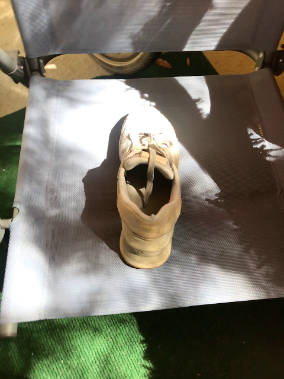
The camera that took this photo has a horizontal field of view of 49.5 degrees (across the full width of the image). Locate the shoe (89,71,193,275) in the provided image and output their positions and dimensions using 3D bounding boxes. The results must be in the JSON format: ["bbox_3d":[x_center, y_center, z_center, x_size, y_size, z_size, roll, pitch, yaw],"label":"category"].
[{"bbox_3d":[0.006,-0.025,0.473,0.124,0.104,0.287,4,72,1],"label":"shoe"}]
